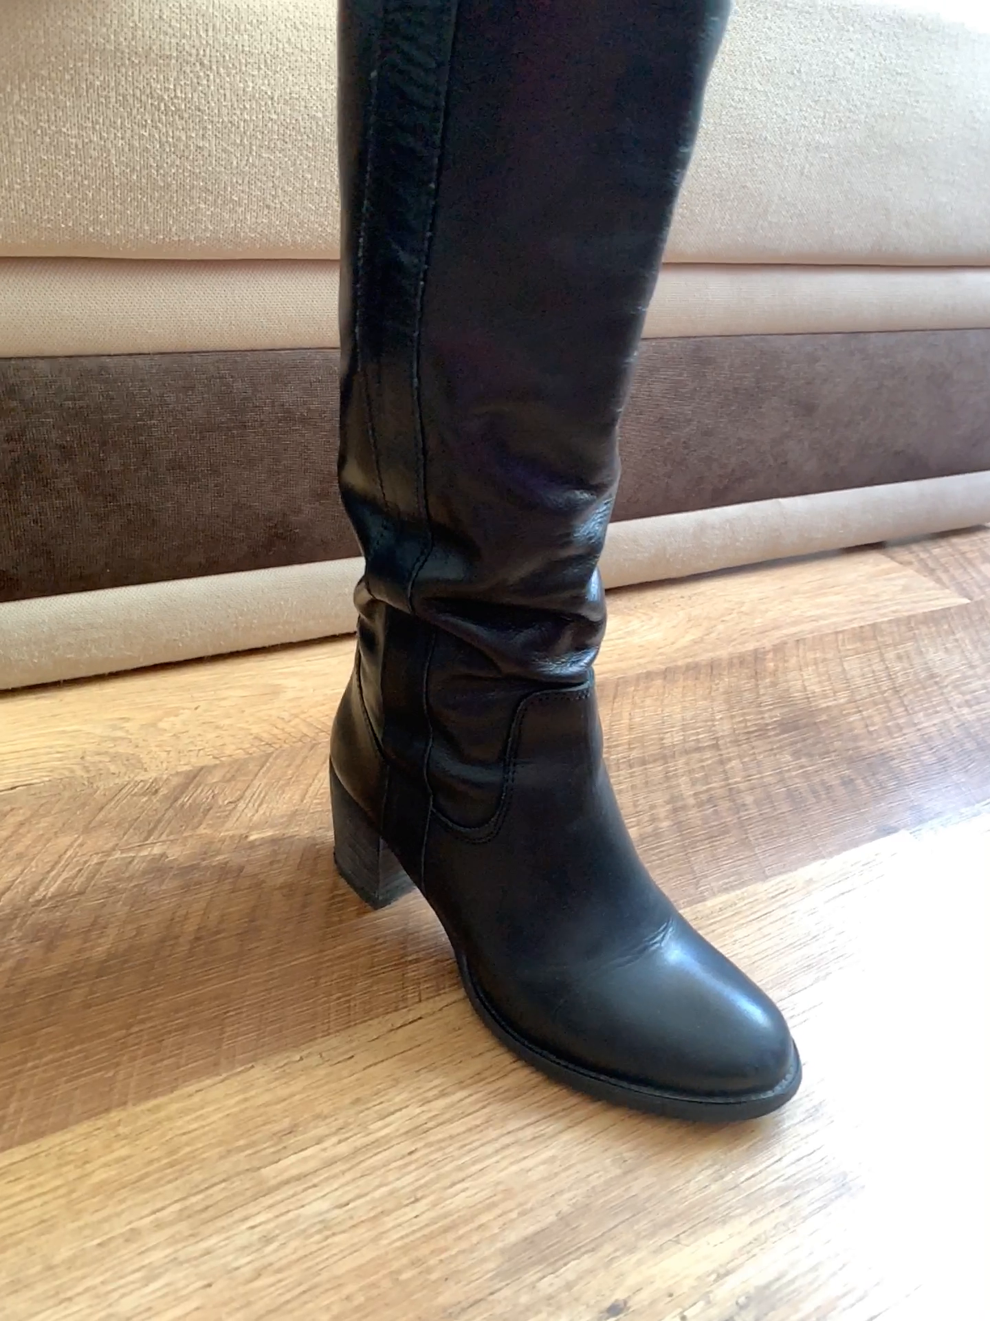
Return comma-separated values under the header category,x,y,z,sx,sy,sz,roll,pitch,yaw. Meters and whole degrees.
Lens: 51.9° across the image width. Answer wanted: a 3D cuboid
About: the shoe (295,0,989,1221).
category,x,y,z,sx,sy,sz,roll,pitch,yaw
shoe,0.054,-0.090,0.294,0.210,0.497,0.100,25,34,29
